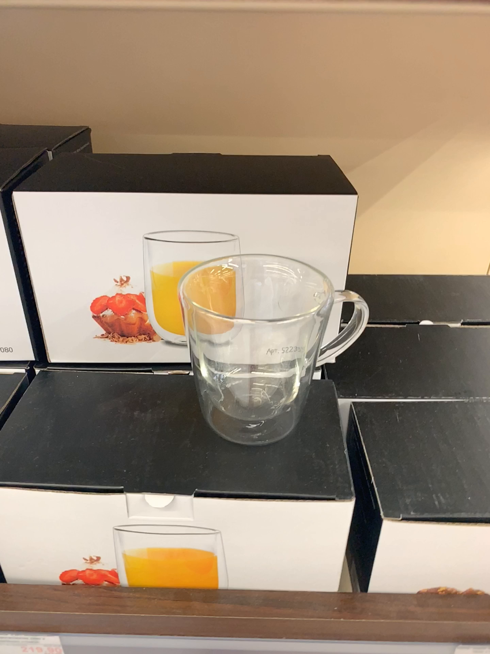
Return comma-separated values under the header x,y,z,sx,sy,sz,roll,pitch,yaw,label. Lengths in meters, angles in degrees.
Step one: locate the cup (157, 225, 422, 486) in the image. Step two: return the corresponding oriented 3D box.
x,y,z,sx,sy,sz,roll,pitch,yaw,label
0.021,0.008,0.272,0.110,0.090,0.070,-17,36,-28,cup
